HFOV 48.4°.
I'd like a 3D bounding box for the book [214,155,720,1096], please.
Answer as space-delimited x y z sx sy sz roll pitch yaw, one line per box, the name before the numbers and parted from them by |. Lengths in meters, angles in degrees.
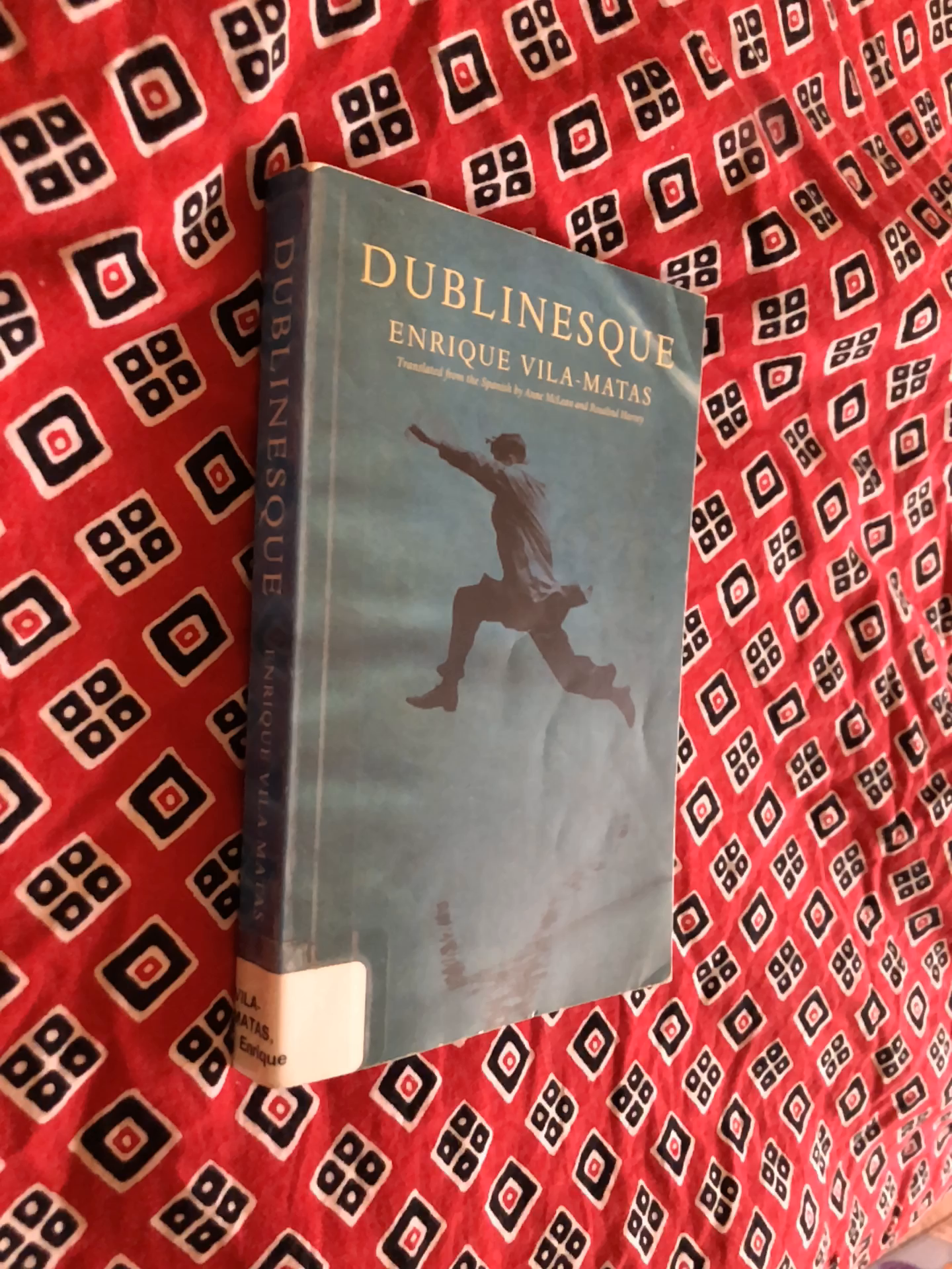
book | 0.005 0.001 0.279 0.138 0.020 0.203 2 93 -39
